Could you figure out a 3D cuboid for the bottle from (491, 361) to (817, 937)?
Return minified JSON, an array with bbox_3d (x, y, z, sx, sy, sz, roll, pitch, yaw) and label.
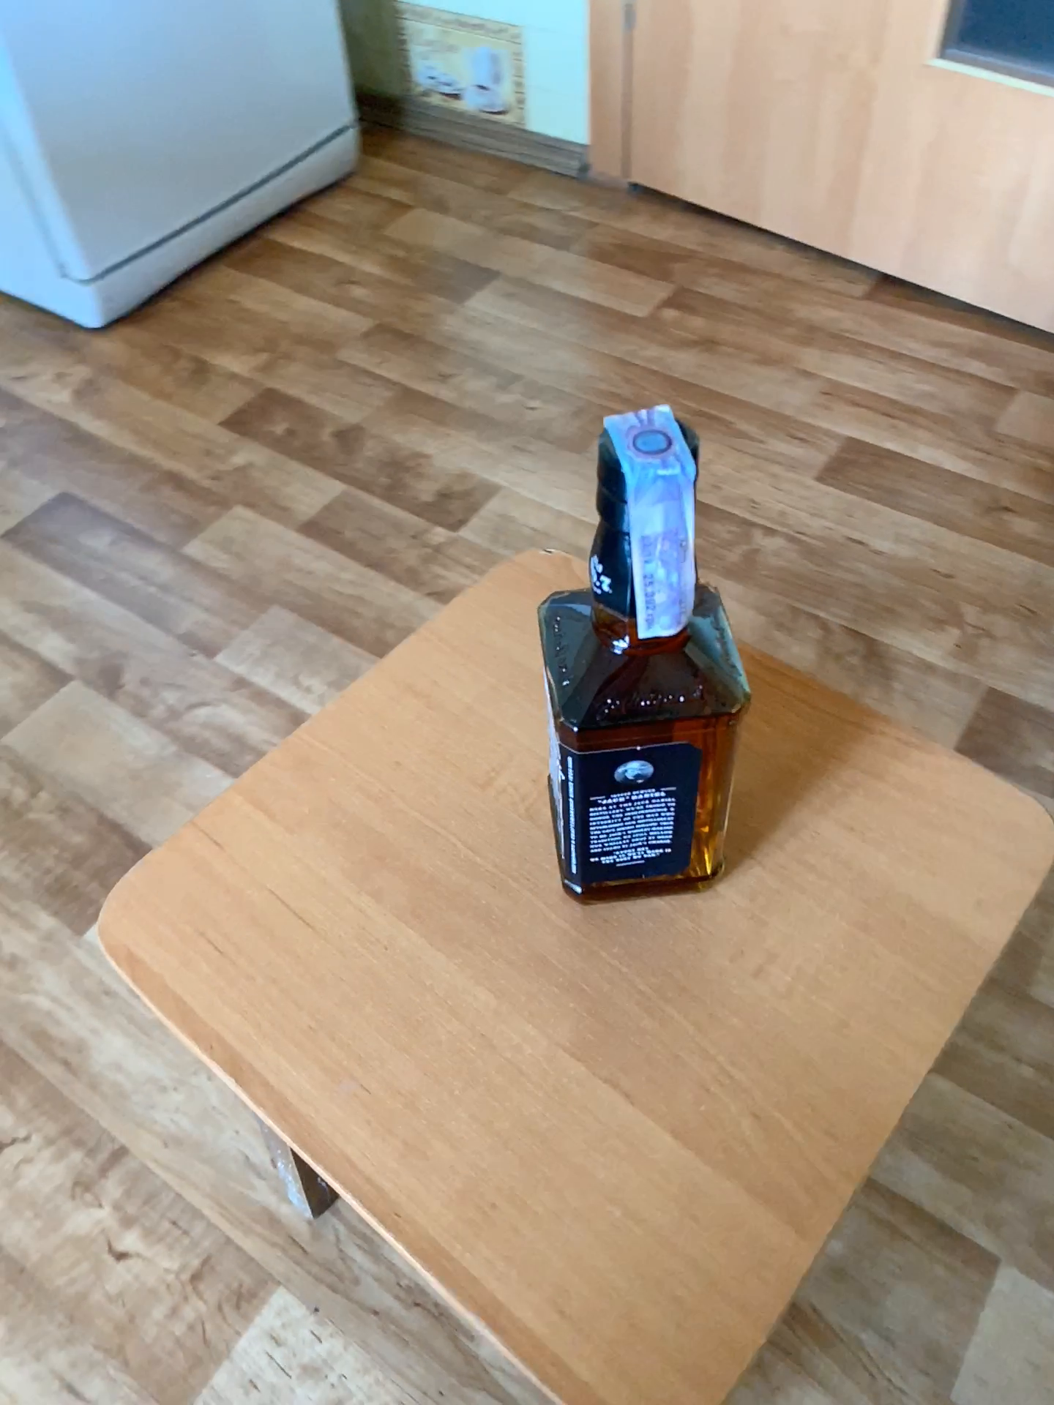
[{"bbox_3d":[0.038,-0.005,0.390,0.080,0.209,0.080,-2,51,2],"label":"bottle"}]
